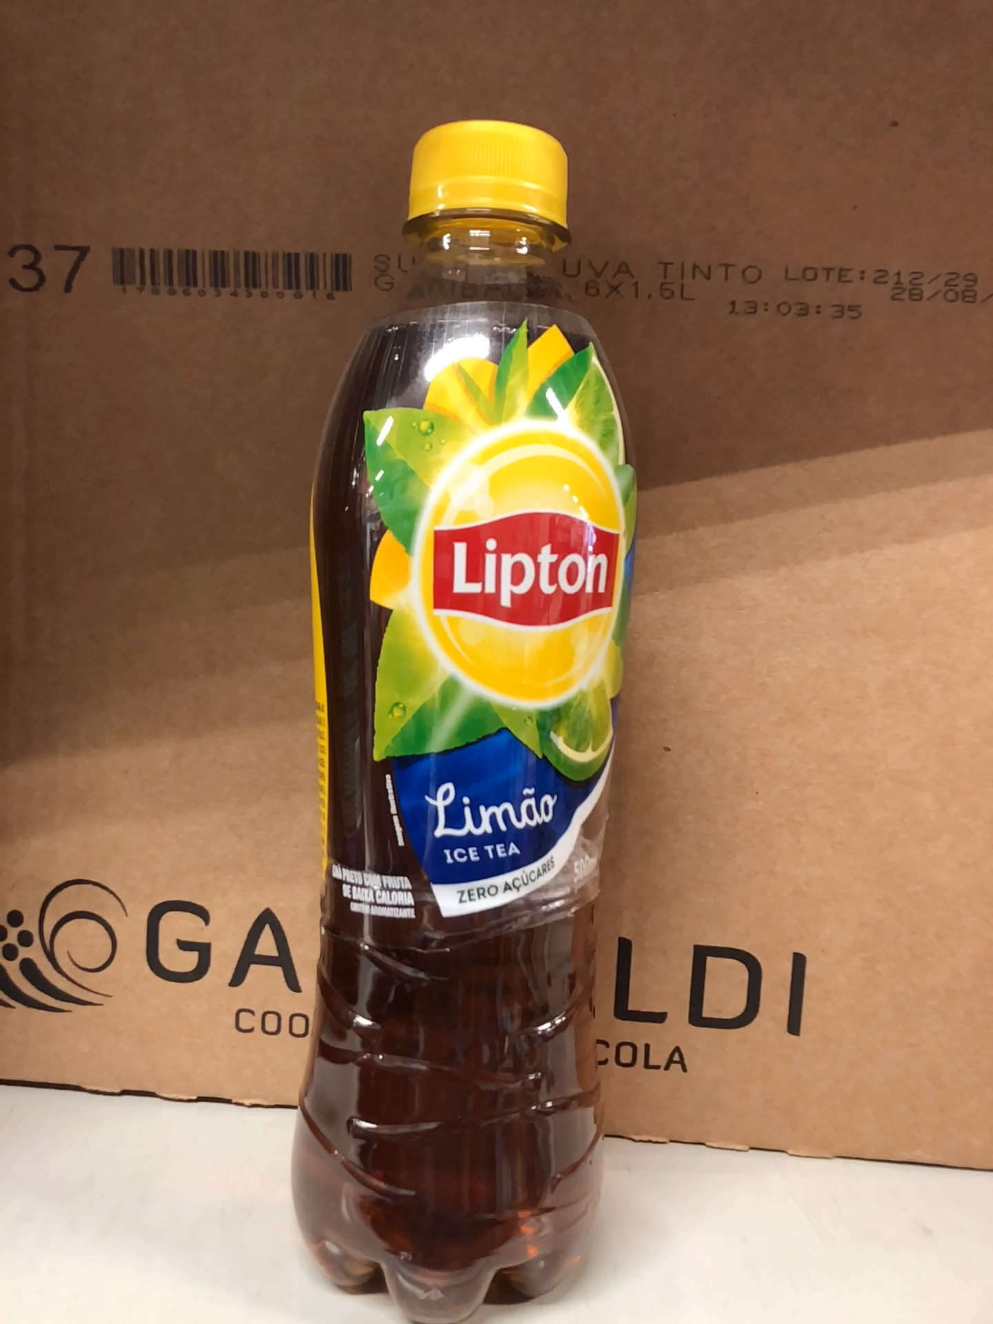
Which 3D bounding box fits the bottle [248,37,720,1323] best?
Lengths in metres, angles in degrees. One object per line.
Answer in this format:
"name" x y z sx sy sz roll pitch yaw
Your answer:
"bottle" -0.009 0.010 0.220 0.070 0.219 0.060 -1 8 -20
